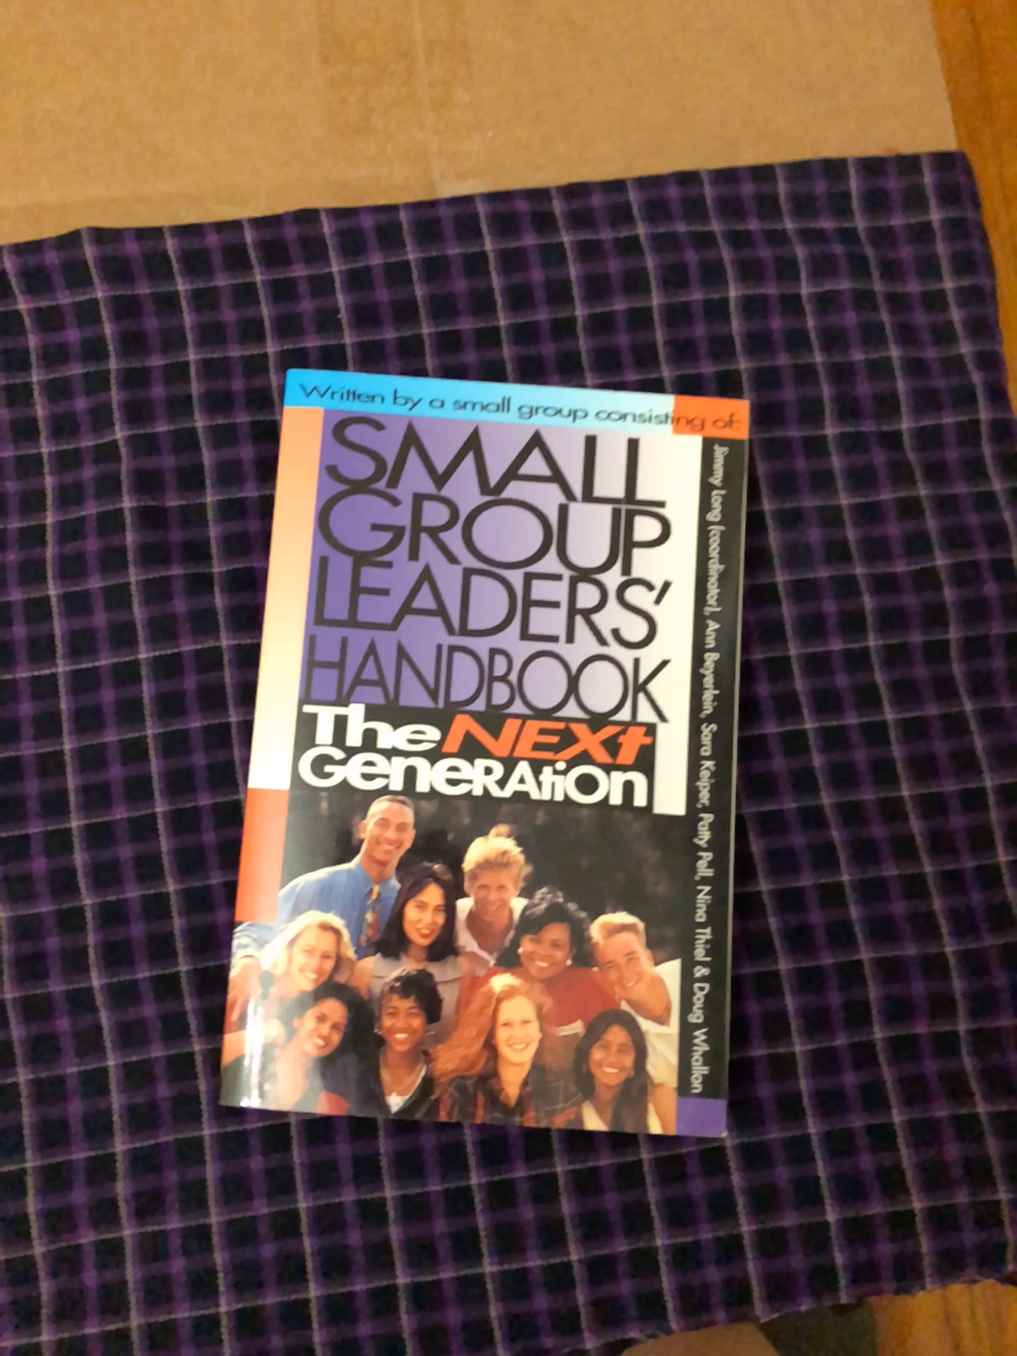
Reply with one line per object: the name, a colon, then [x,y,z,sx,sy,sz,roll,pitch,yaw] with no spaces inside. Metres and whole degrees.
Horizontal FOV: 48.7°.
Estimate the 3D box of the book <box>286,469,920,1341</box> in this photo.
book: [0.027,0.050,0.311,0.150,0.030,0.220,2,74,5]
